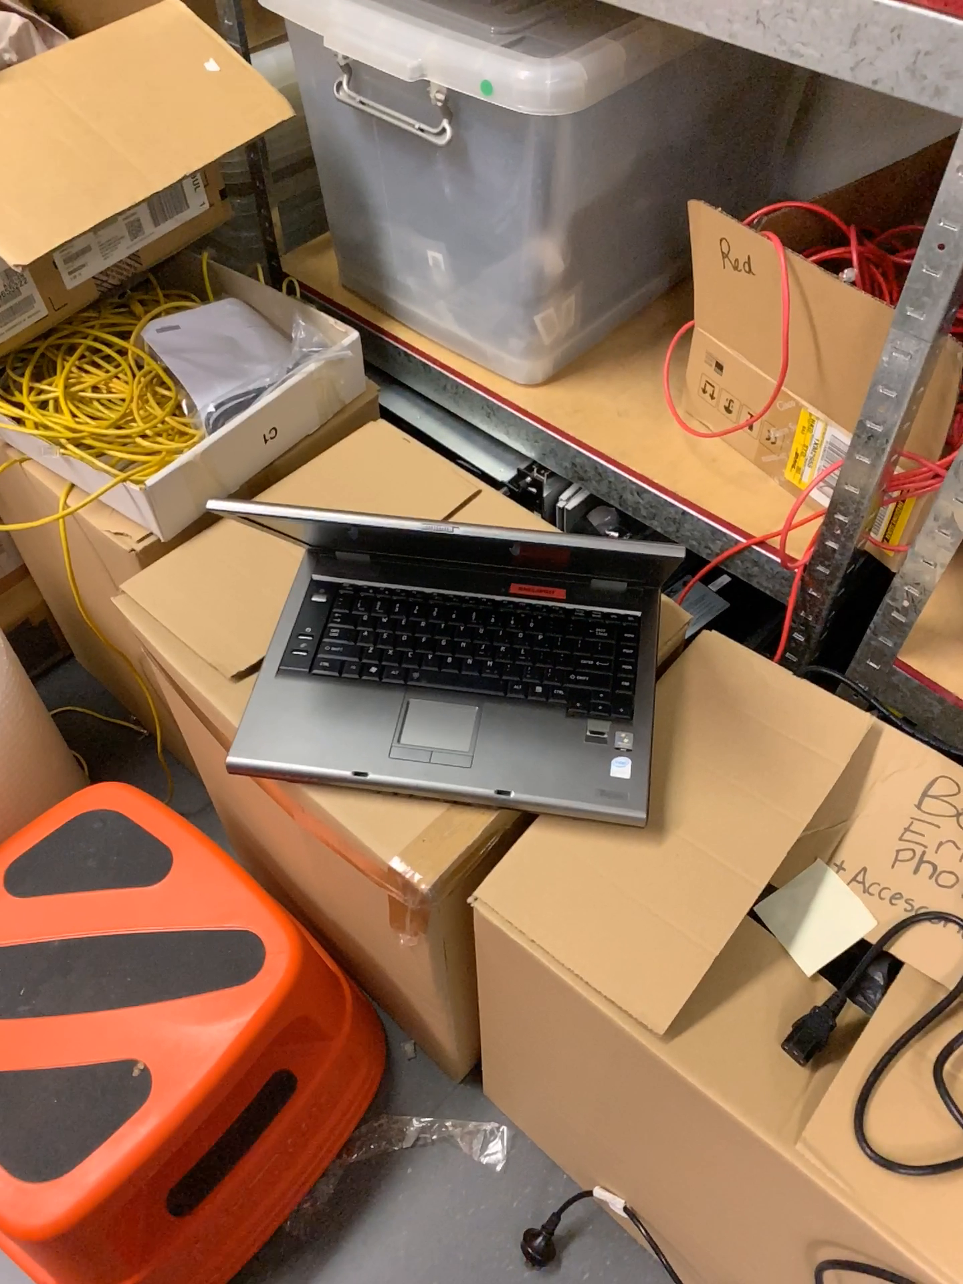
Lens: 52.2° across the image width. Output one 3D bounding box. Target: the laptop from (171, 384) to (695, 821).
[{"bbox_3d":[-0.022,-0.038,0.812,0.352,0.203,0.254,7,52,7],"label":"laptop"}]
